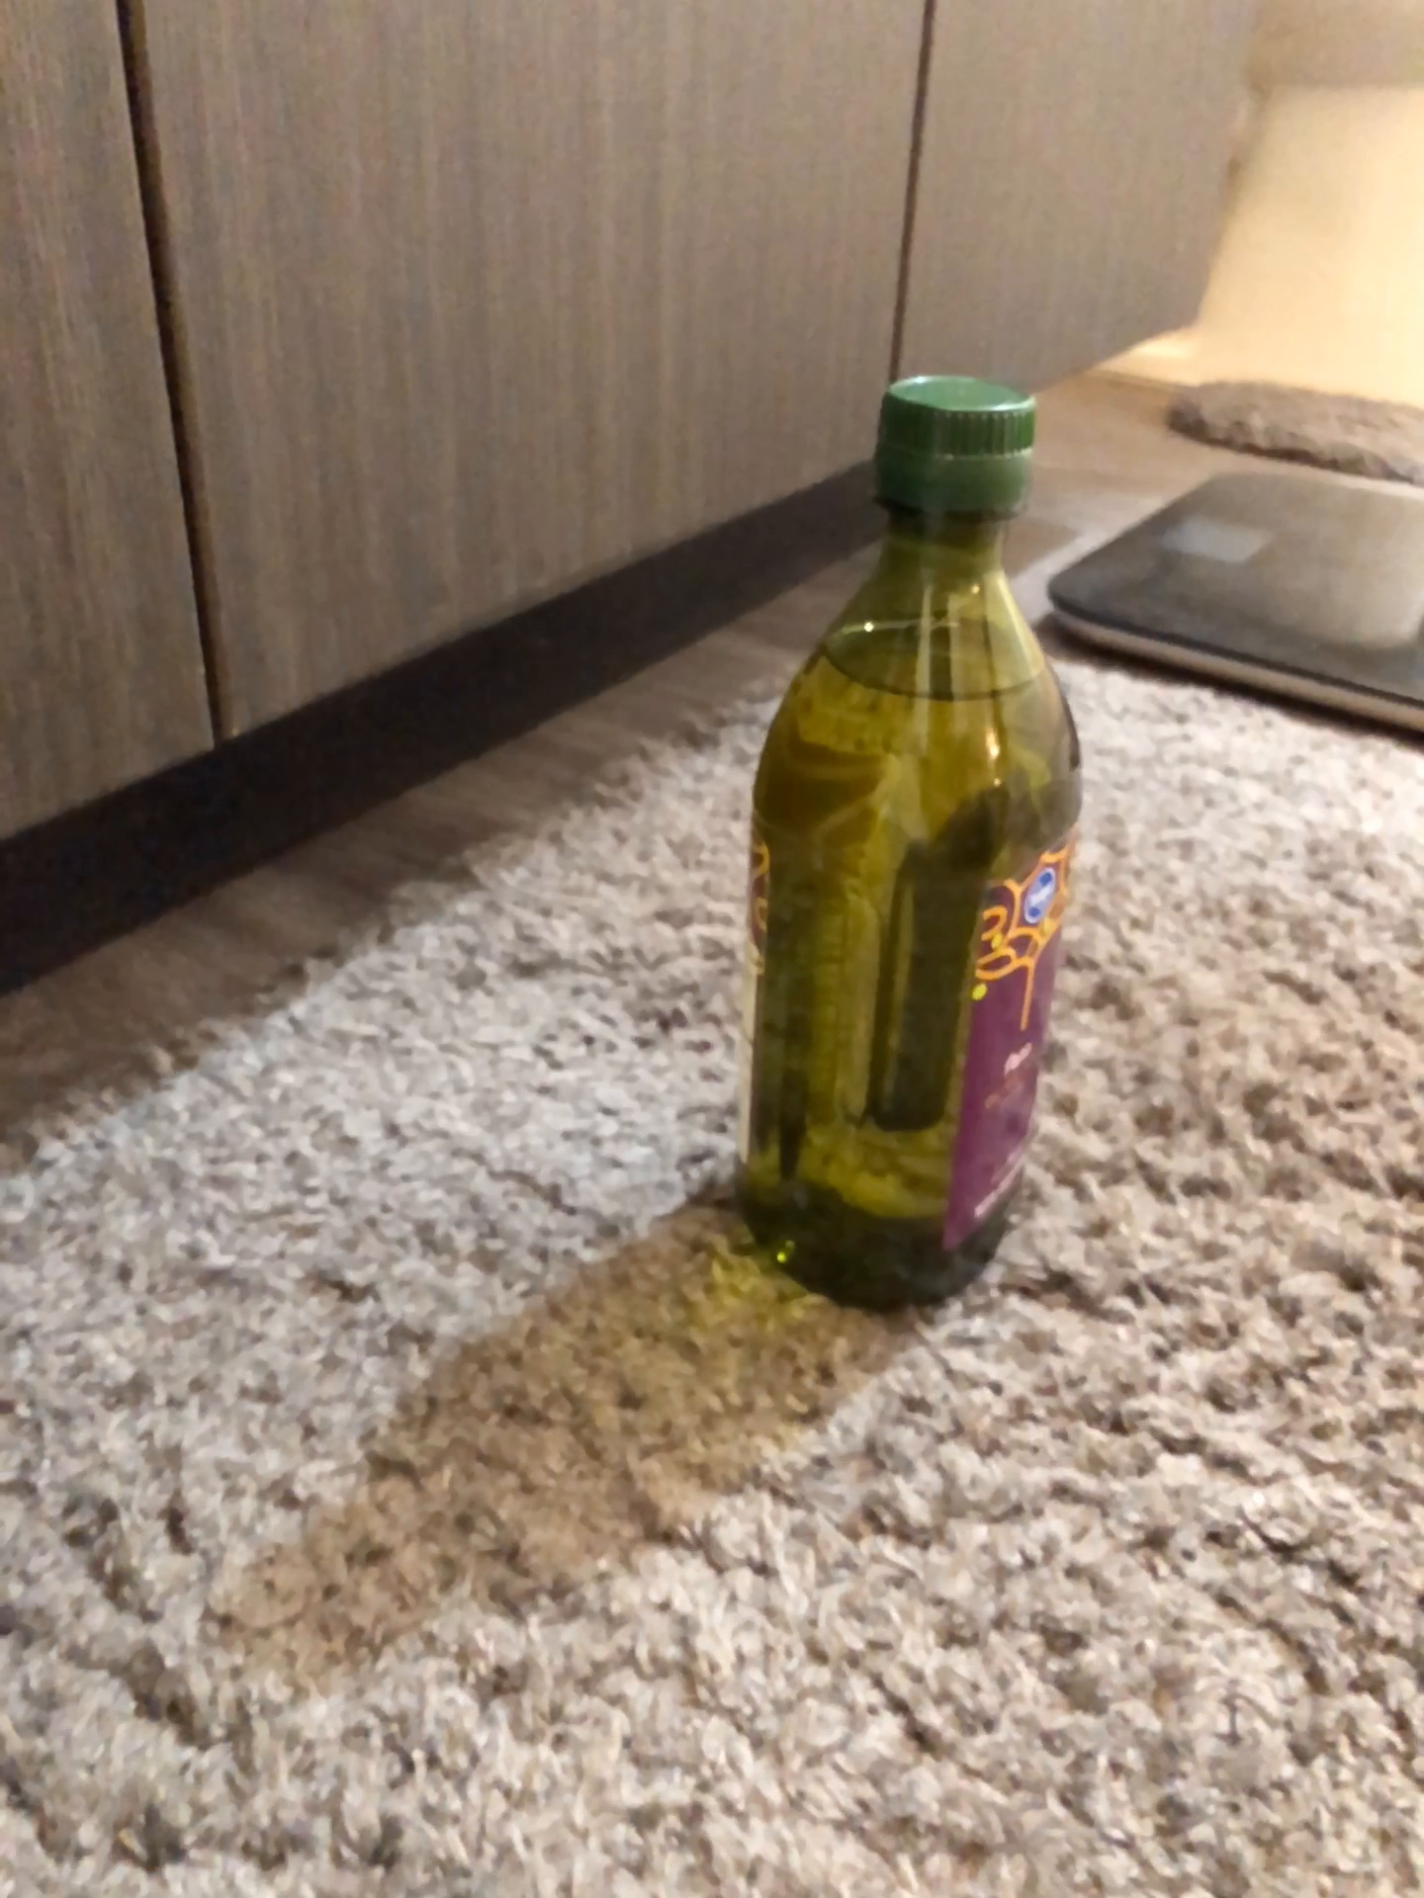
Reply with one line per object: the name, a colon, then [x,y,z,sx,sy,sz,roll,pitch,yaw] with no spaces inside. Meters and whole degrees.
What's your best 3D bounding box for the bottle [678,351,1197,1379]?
bottle: [0.042,-0.014,0.353,0.060,0.209,0.070,27,39,33]
